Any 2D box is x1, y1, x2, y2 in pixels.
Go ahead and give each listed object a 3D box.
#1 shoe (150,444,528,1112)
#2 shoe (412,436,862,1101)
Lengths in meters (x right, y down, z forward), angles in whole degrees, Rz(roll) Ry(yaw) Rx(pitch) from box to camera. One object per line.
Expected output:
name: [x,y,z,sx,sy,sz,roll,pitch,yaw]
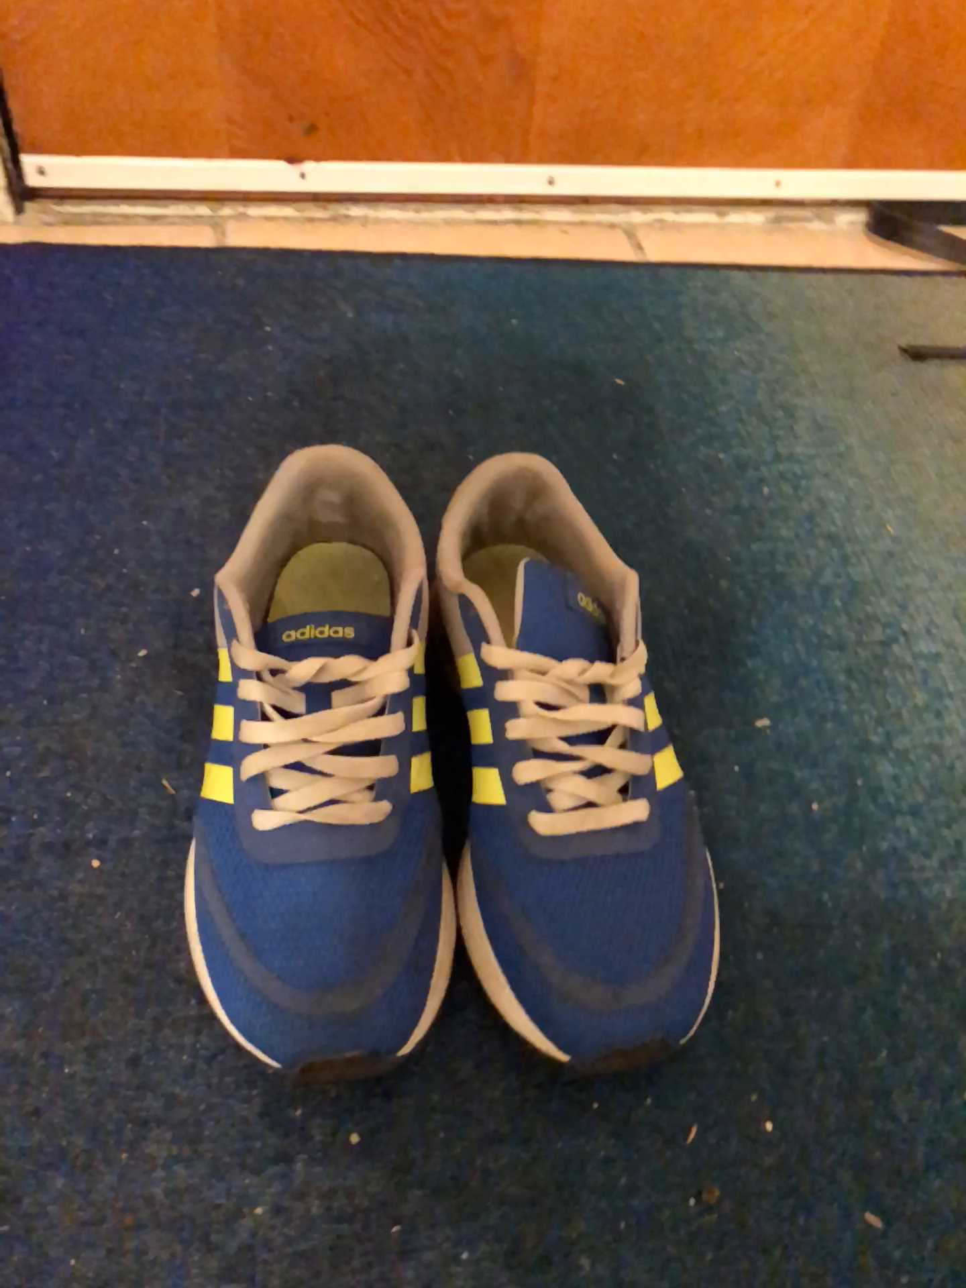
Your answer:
shoe: [-0.062,0.034,0.433,0.110,0.089,0.262,-3,46,-9]
shoe: [0.039,0.030,0.433,0.110,0.089,0.262,-3,46,-9]
